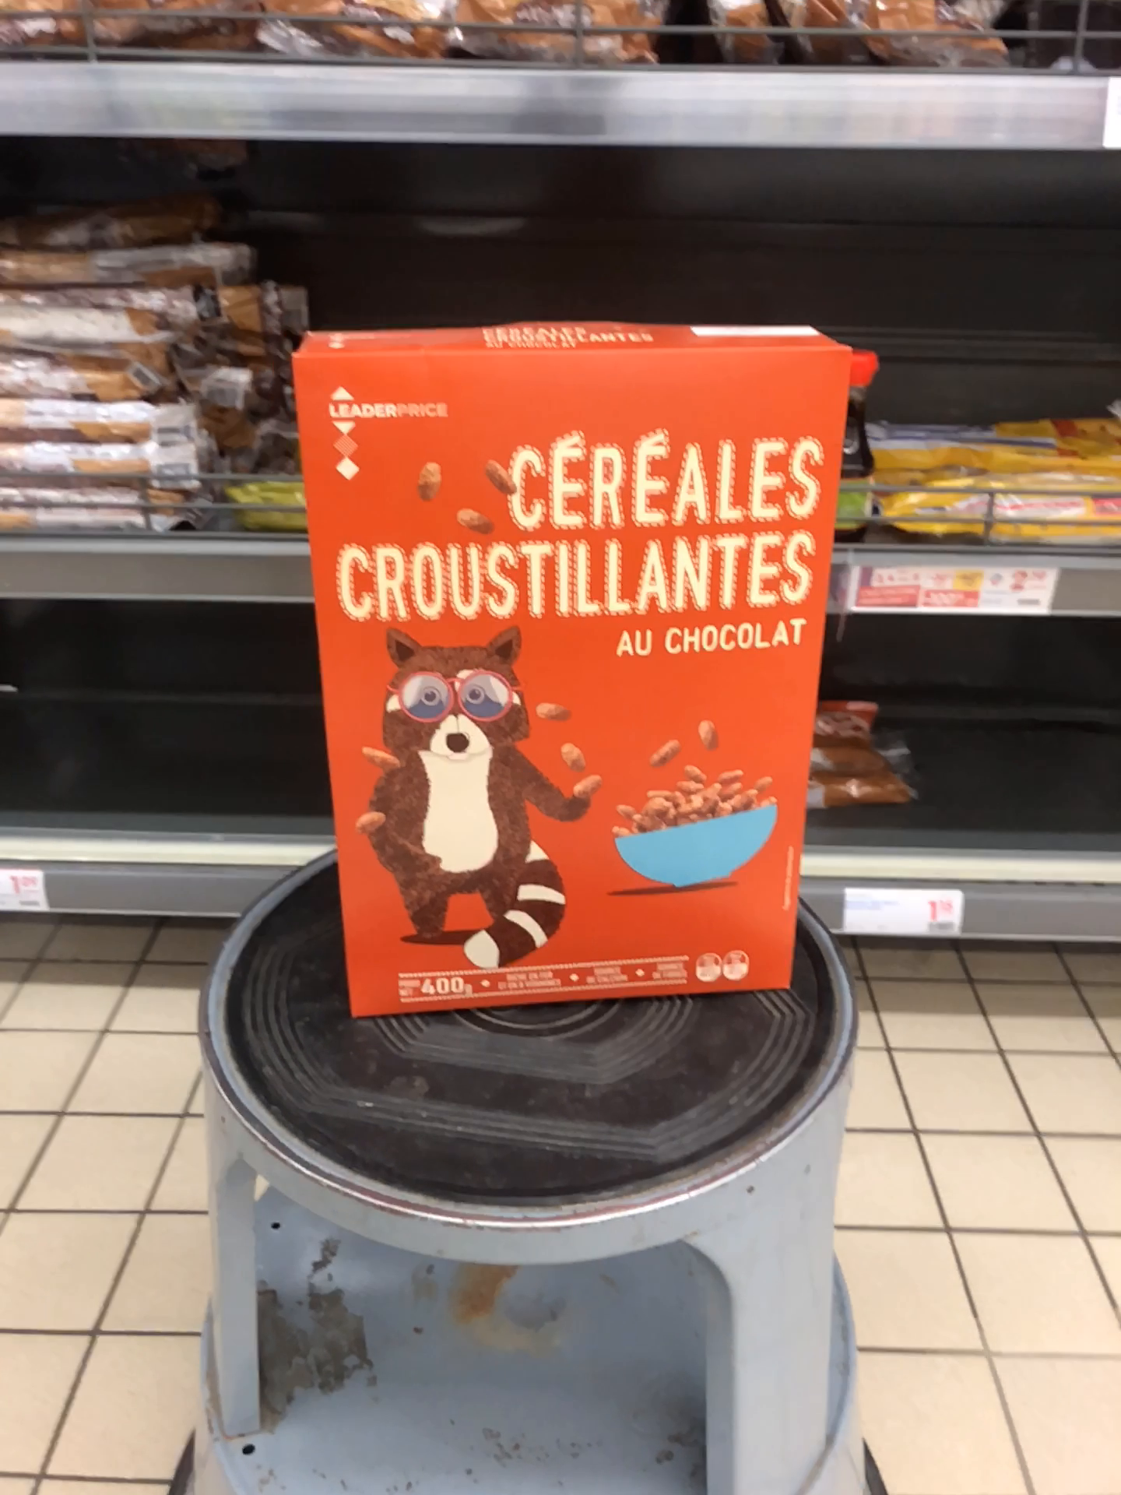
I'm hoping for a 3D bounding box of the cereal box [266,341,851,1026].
[{"bbox_3d":[-0.003,-0.019,0.482,0.190,0.259,0.060,-2,26,-6],"label":"cereal box"}]
